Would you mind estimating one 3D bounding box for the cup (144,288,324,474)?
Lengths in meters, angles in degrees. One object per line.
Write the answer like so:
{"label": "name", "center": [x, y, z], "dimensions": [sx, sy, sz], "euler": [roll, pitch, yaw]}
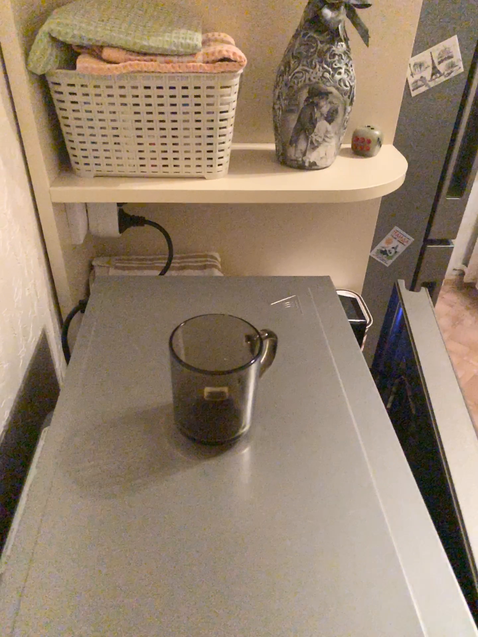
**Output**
{"label": "cup", "center": [-0.005, 0.045, 0.392], "dimensions": [0.110, 0.079, 0.080], "euler": [-24, 44, -32]}
